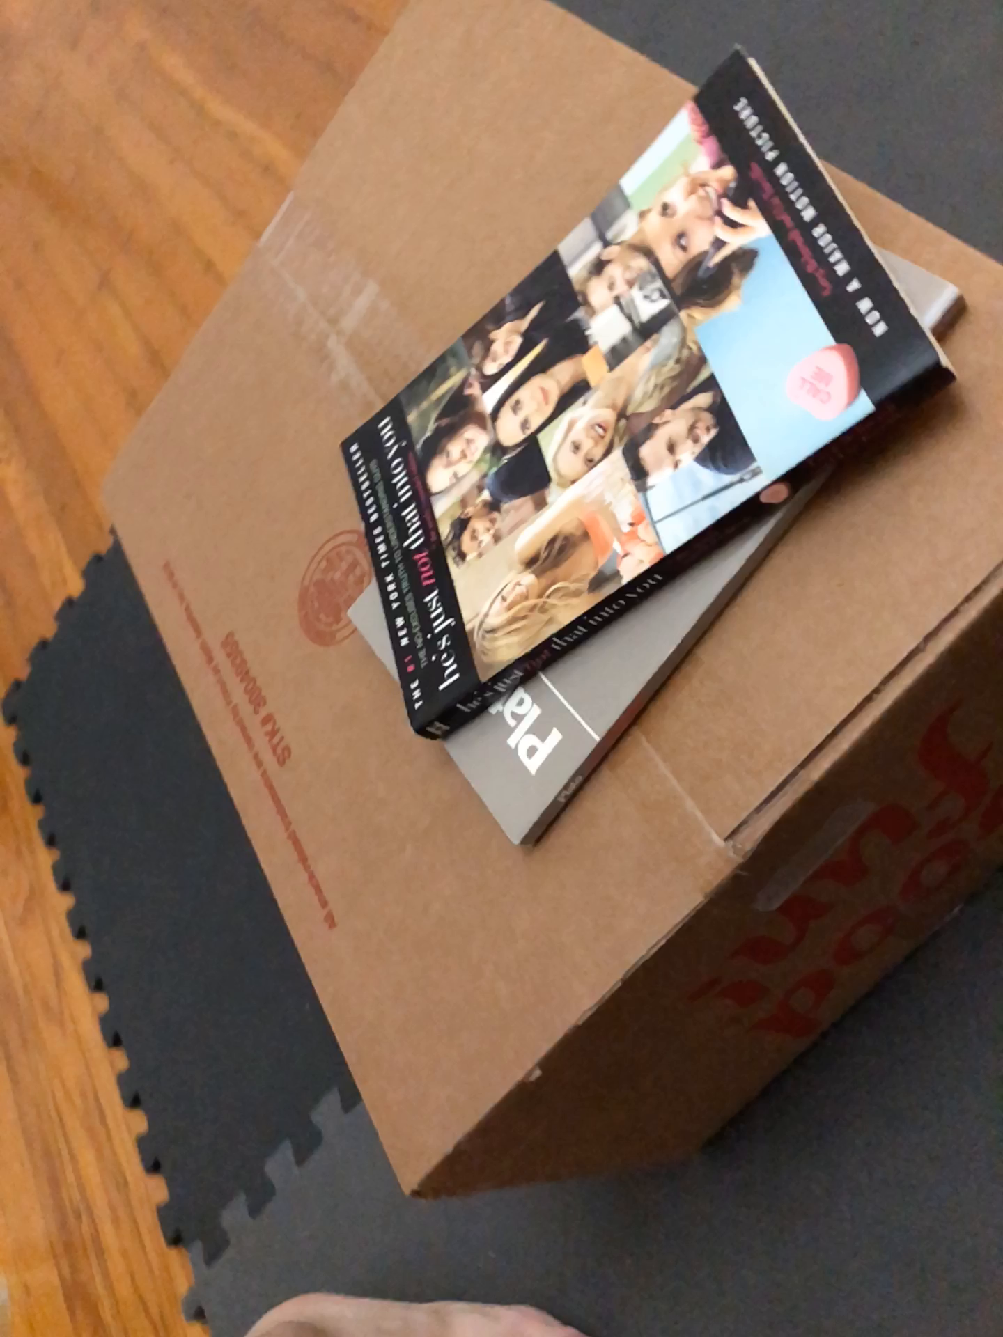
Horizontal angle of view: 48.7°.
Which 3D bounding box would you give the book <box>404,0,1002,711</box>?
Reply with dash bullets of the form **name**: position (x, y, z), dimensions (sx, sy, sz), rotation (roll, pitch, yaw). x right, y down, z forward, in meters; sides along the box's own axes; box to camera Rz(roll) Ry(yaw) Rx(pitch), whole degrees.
- **book**: position (0.066, -0.106, 0.363), dimensions (0.230, 0.010, 0.150), rotation (-35, 56, 29)
